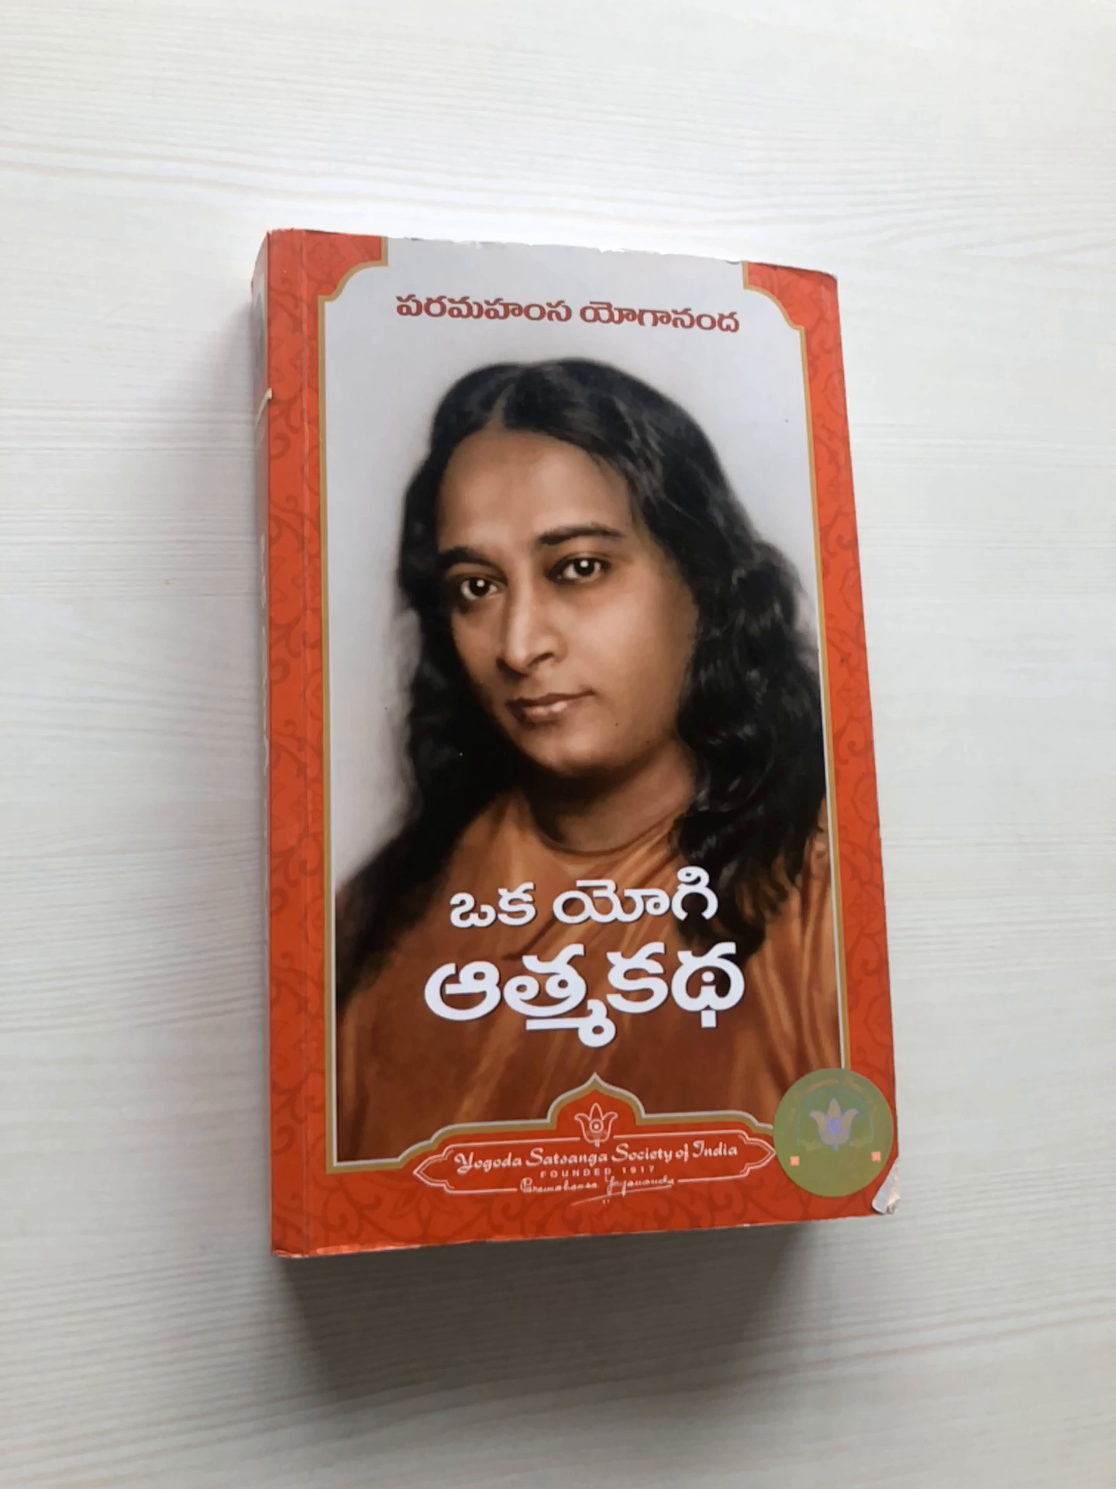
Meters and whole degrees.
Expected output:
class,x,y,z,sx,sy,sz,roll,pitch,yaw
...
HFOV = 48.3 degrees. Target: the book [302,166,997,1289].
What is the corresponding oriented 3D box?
class,x,y,z,sx,sy,sz,roll,pitch,yaw
book,0.017,-0.007,0.291,0.150,0.040,0.233,0,84,-12
